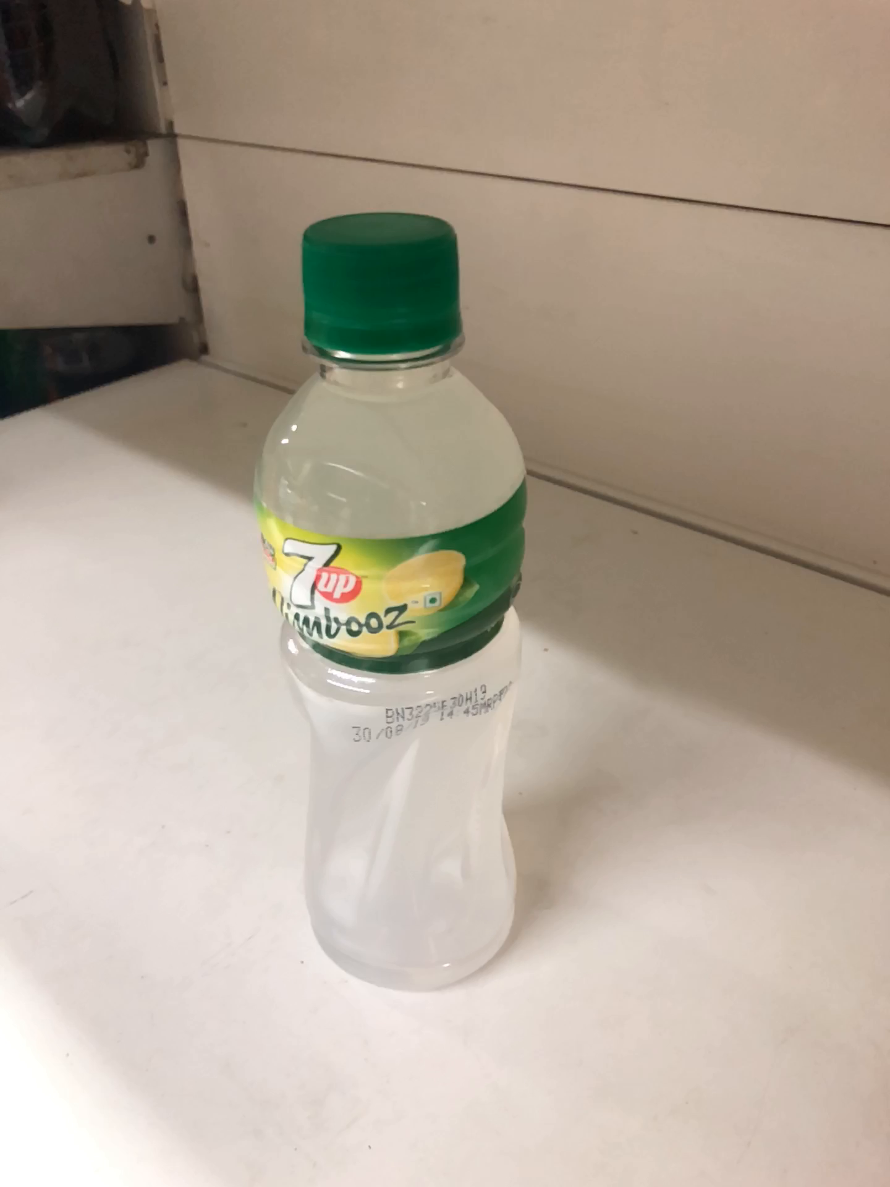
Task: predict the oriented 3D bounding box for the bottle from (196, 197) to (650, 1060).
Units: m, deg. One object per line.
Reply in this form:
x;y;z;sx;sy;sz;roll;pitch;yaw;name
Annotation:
-0.003;0.014;0.248;0.070;0.199;0.060;16;34;26;bottle
